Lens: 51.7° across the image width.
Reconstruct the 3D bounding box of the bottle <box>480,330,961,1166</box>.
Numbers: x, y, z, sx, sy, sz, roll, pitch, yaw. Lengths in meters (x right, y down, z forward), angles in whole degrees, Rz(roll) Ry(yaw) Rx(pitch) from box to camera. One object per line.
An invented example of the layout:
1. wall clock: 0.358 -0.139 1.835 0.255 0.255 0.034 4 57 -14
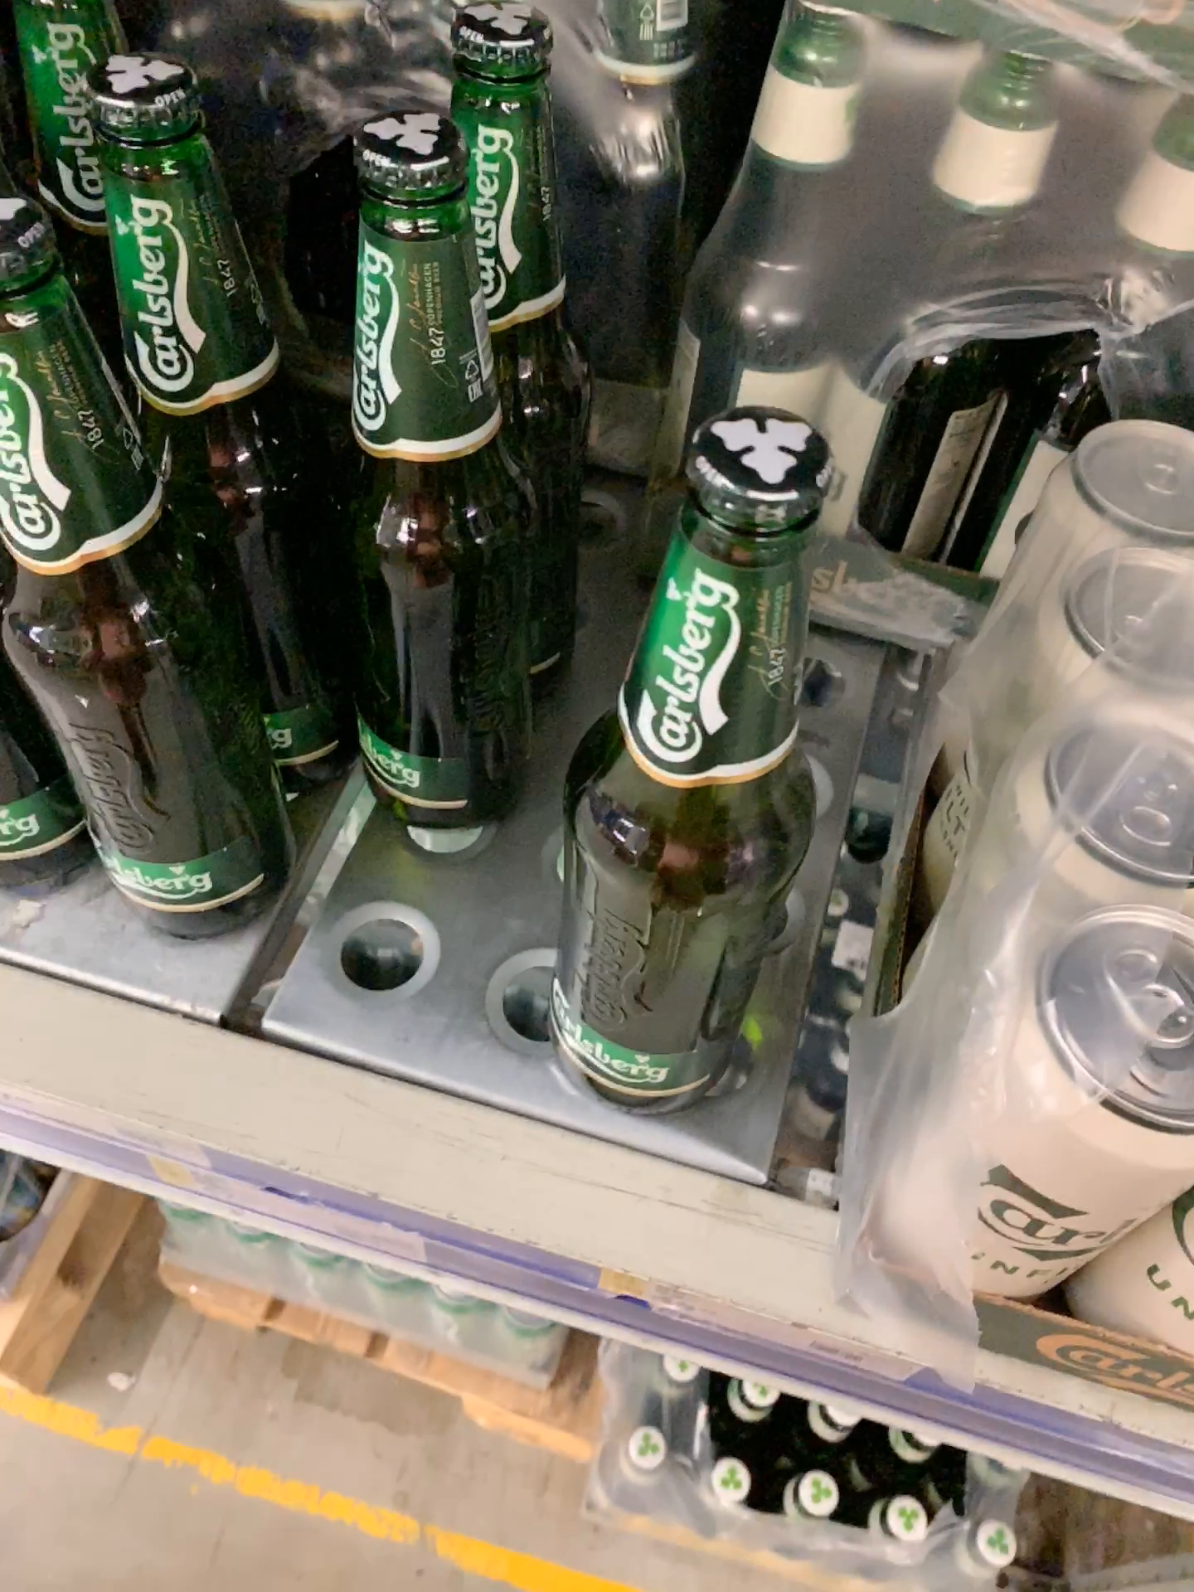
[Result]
1. bottle: 0.017 0.013 0.327 0.071 0.249 0.060 23 56 12
